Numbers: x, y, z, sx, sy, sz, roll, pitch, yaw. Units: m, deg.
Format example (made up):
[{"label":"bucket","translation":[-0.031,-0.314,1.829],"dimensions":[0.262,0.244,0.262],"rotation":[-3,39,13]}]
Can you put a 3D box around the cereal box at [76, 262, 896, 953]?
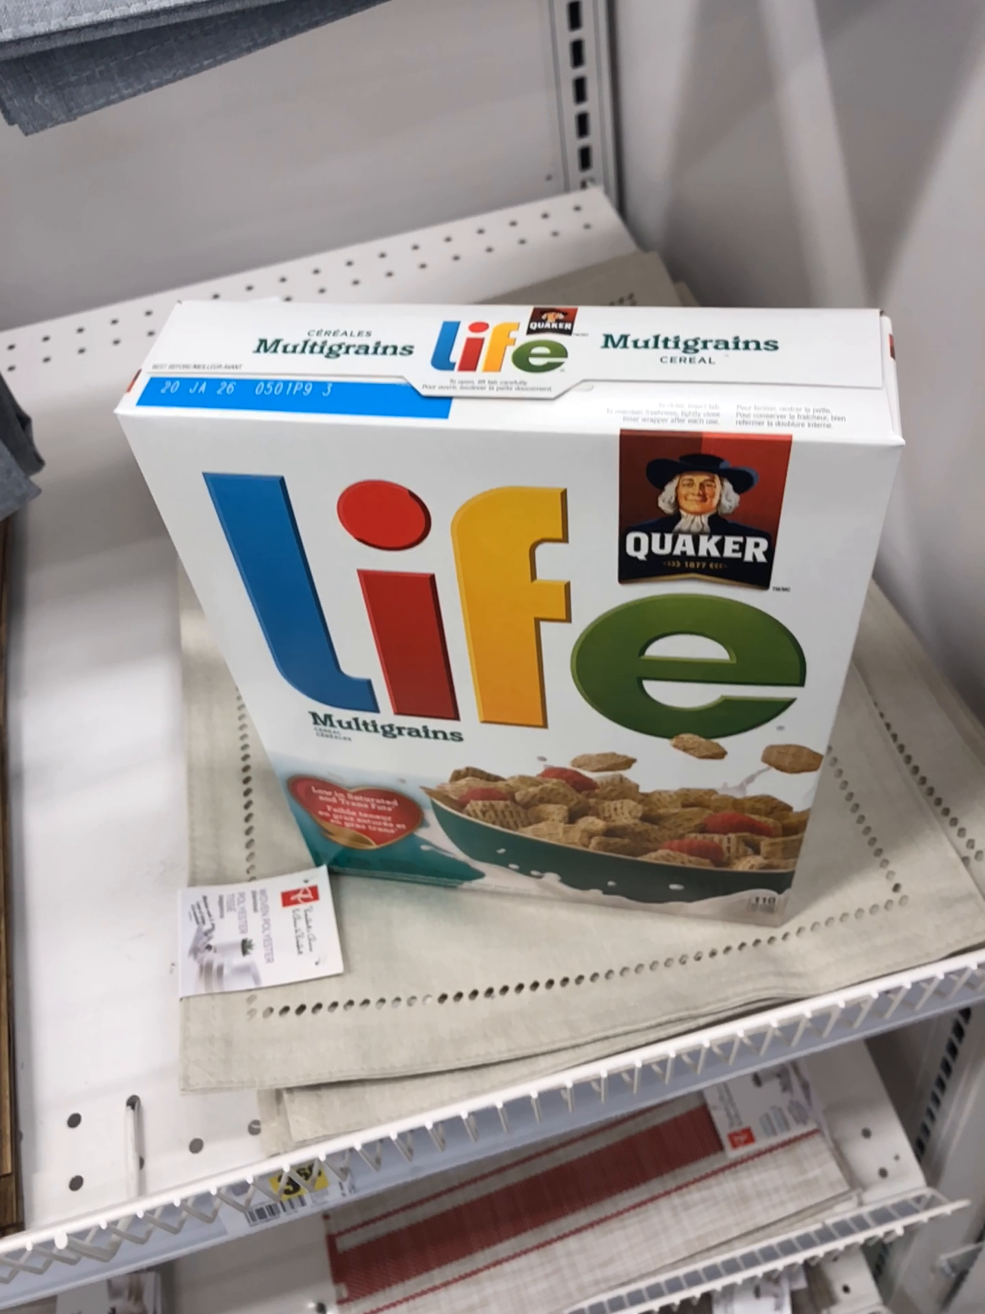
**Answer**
[{"label":"cereal box","translation":[0.007,0.003,0.401],"dimensions":[0.210,0.279,0.060],"rotation":[5,50,10]}]
